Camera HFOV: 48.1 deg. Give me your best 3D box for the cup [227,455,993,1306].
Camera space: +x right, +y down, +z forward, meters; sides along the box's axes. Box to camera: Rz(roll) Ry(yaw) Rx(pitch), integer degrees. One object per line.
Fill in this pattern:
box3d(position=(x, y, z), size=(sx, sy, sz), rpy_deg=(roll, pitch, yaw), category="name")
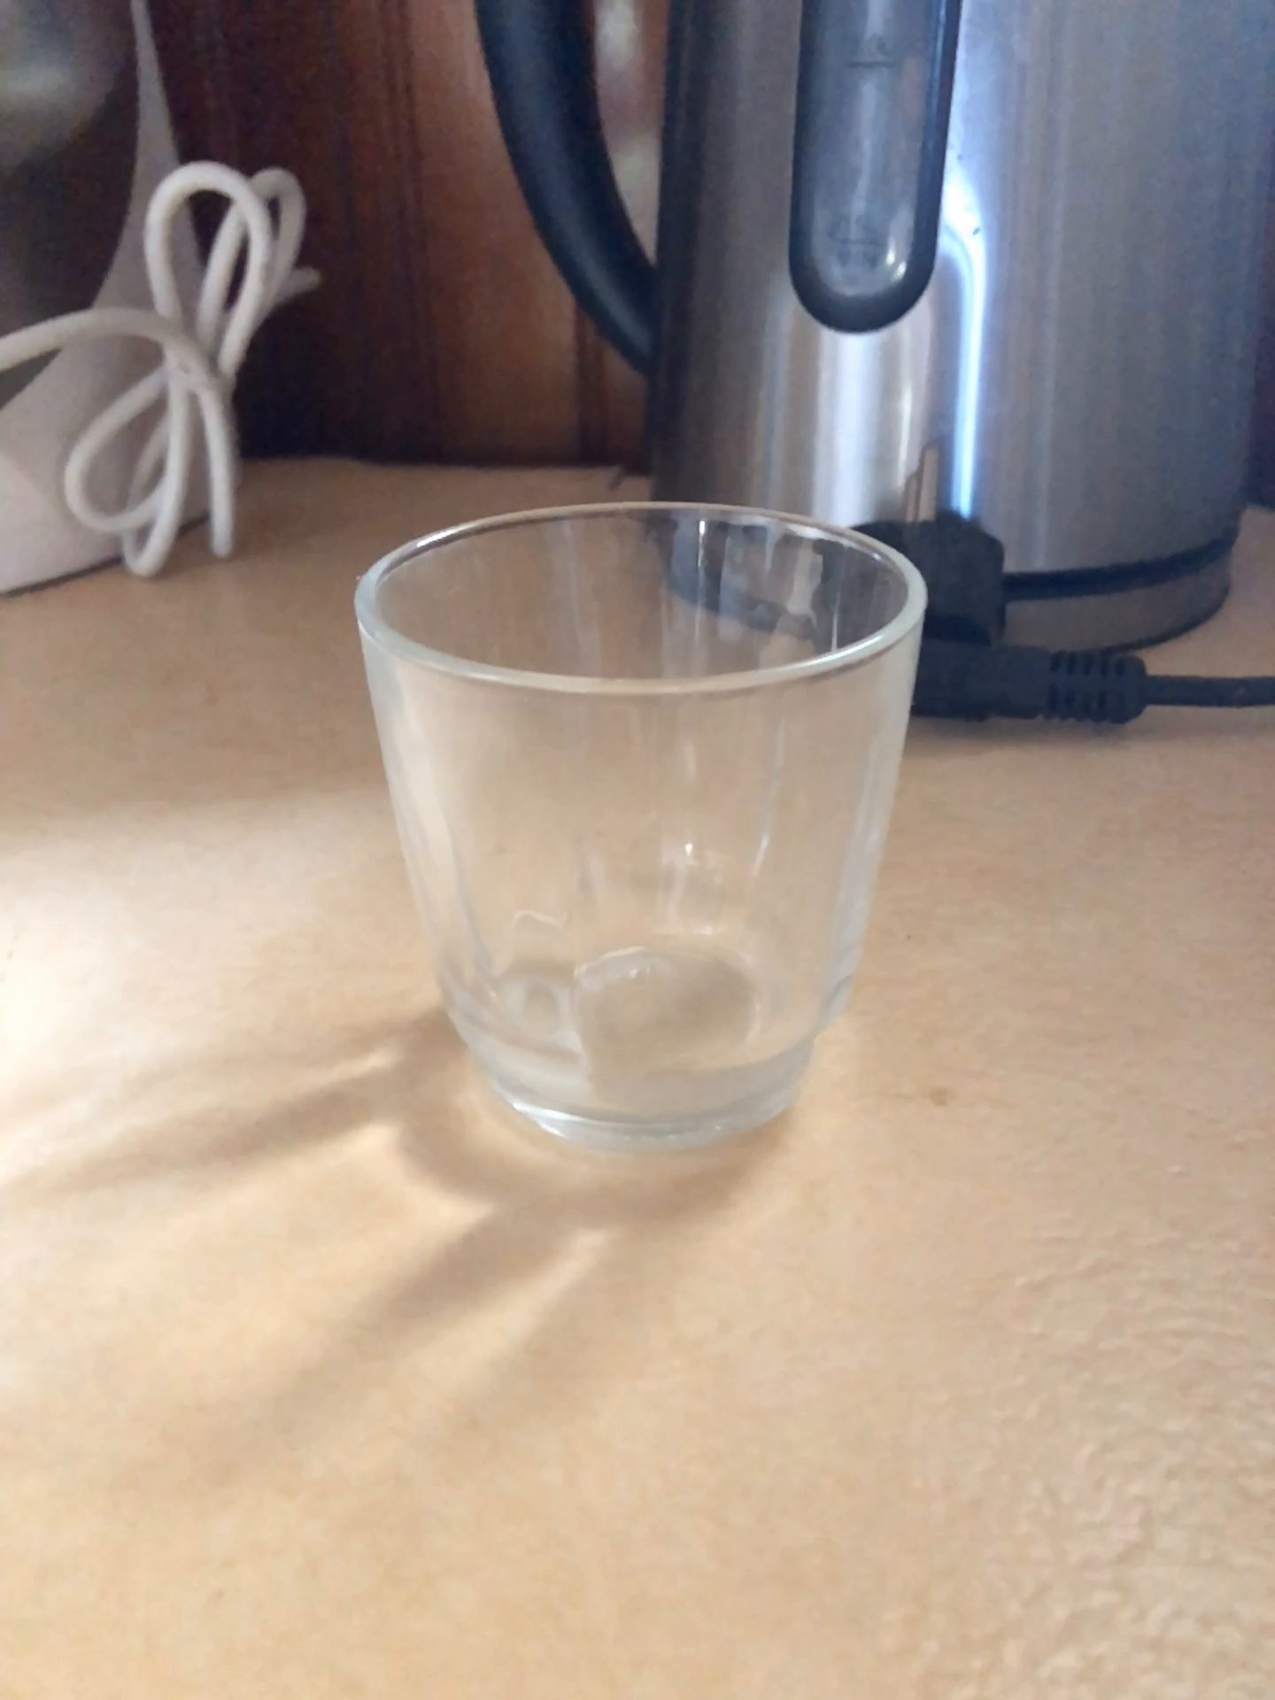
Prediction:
box3d(position=(-0.005, -0.003, 0.199), size=(0.070, 0.080, 0.070), rpy_deg=(-1, 29, 0), category="cup")
